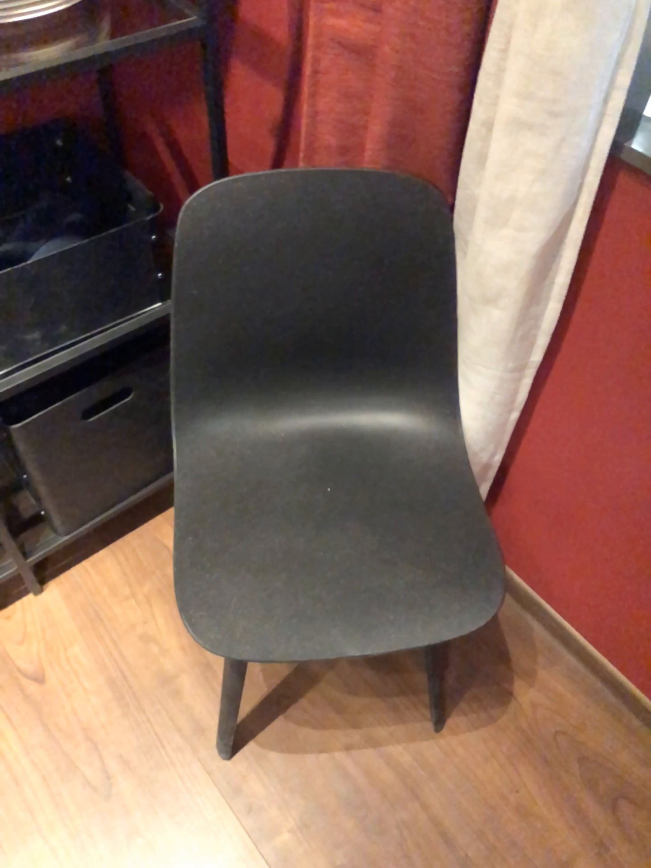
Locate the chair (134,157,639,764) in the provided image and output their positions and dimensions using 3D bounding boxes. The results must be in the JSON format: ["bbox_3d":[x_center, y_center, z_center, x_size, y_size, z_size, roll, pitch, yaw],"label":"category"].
[{"bbox_3d":[0.008,0.083,1.002,0.410,0.726,0.483,-4,51,-7],"label":"chair"}]
